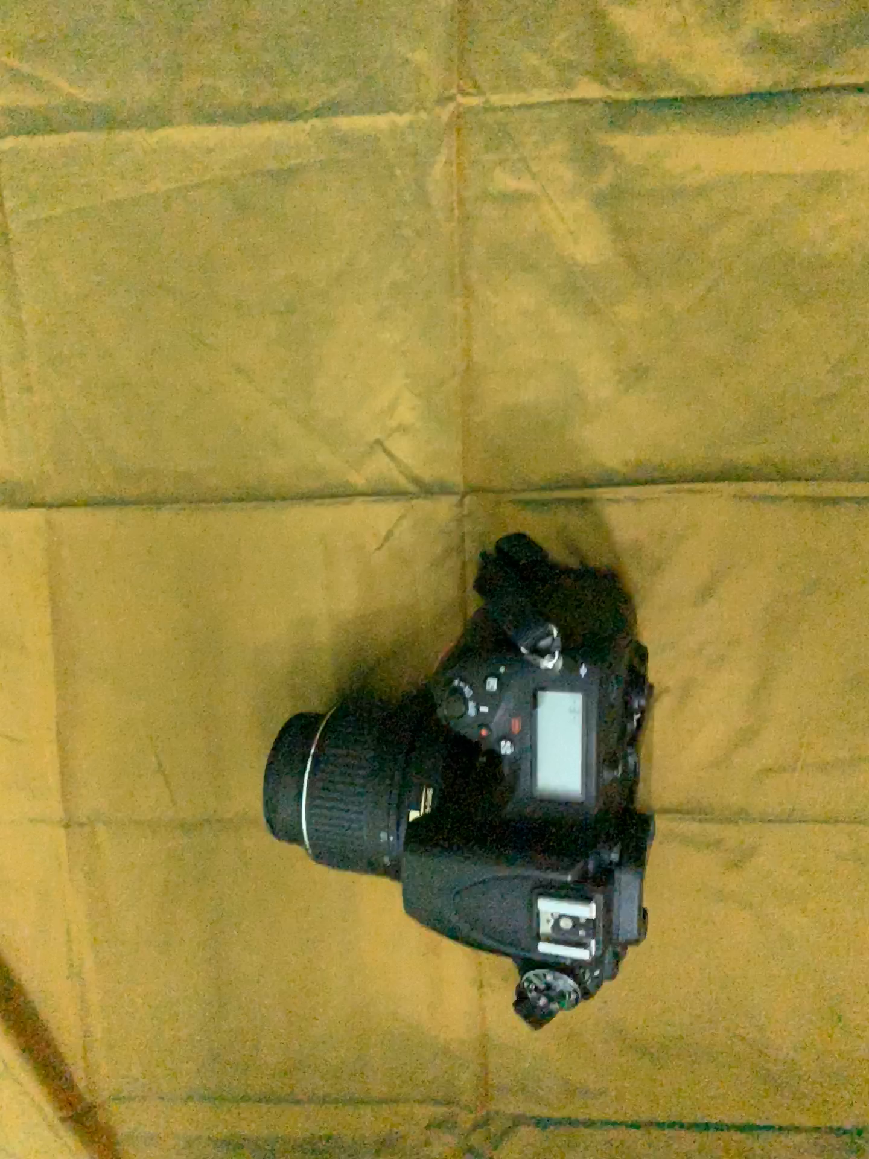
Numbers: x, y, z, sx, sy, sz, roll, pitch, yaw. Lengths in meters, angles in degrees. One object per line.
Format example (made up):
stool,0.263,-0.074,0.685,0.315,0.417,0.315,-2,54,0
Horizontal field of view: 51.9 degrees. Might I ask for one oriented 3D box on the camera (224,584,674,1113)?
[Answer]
camera,0.015,0.084,0.339,0.131,0.120,0.135,3,104,20
